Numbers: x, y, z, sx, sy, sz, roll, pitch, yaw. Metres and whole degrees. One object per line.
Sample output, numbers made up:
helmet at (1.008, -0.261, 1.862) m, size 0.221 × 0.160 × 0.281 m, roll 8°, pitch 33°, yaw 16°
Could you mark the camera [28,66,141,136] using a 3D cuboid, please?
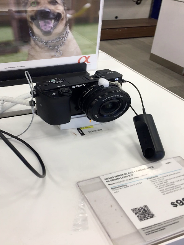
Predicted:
camera at (-0.014, -0.037, 0.379) m, size 0.137 × 0.064 × 0.079 m, roll -14°, pitch 41°, yaw -20°
